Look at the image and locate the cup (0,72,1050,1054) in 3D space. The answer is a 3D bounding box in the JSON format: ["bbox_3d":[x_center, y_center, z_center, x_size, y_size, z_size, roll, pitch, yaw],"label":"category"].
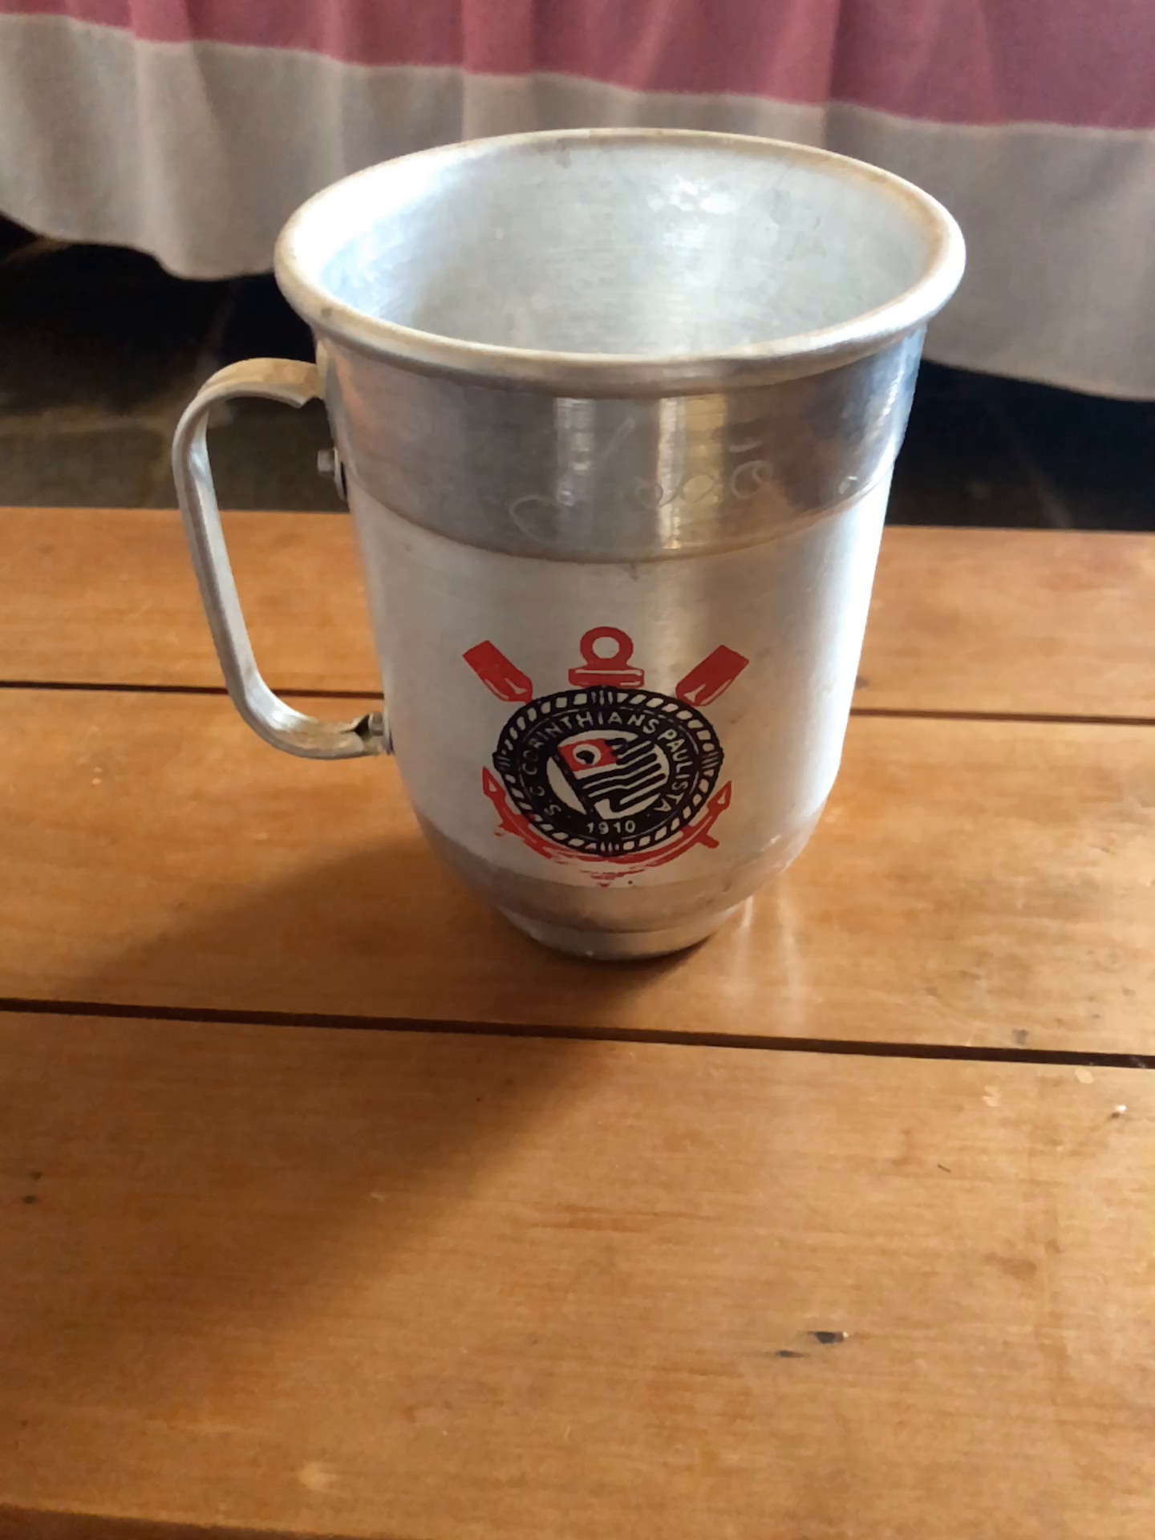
[{"bbox_3d":[-0.003,-0.036,0.225,0.120,0.129,0.101,4,41,5],"label":"cup"}]
